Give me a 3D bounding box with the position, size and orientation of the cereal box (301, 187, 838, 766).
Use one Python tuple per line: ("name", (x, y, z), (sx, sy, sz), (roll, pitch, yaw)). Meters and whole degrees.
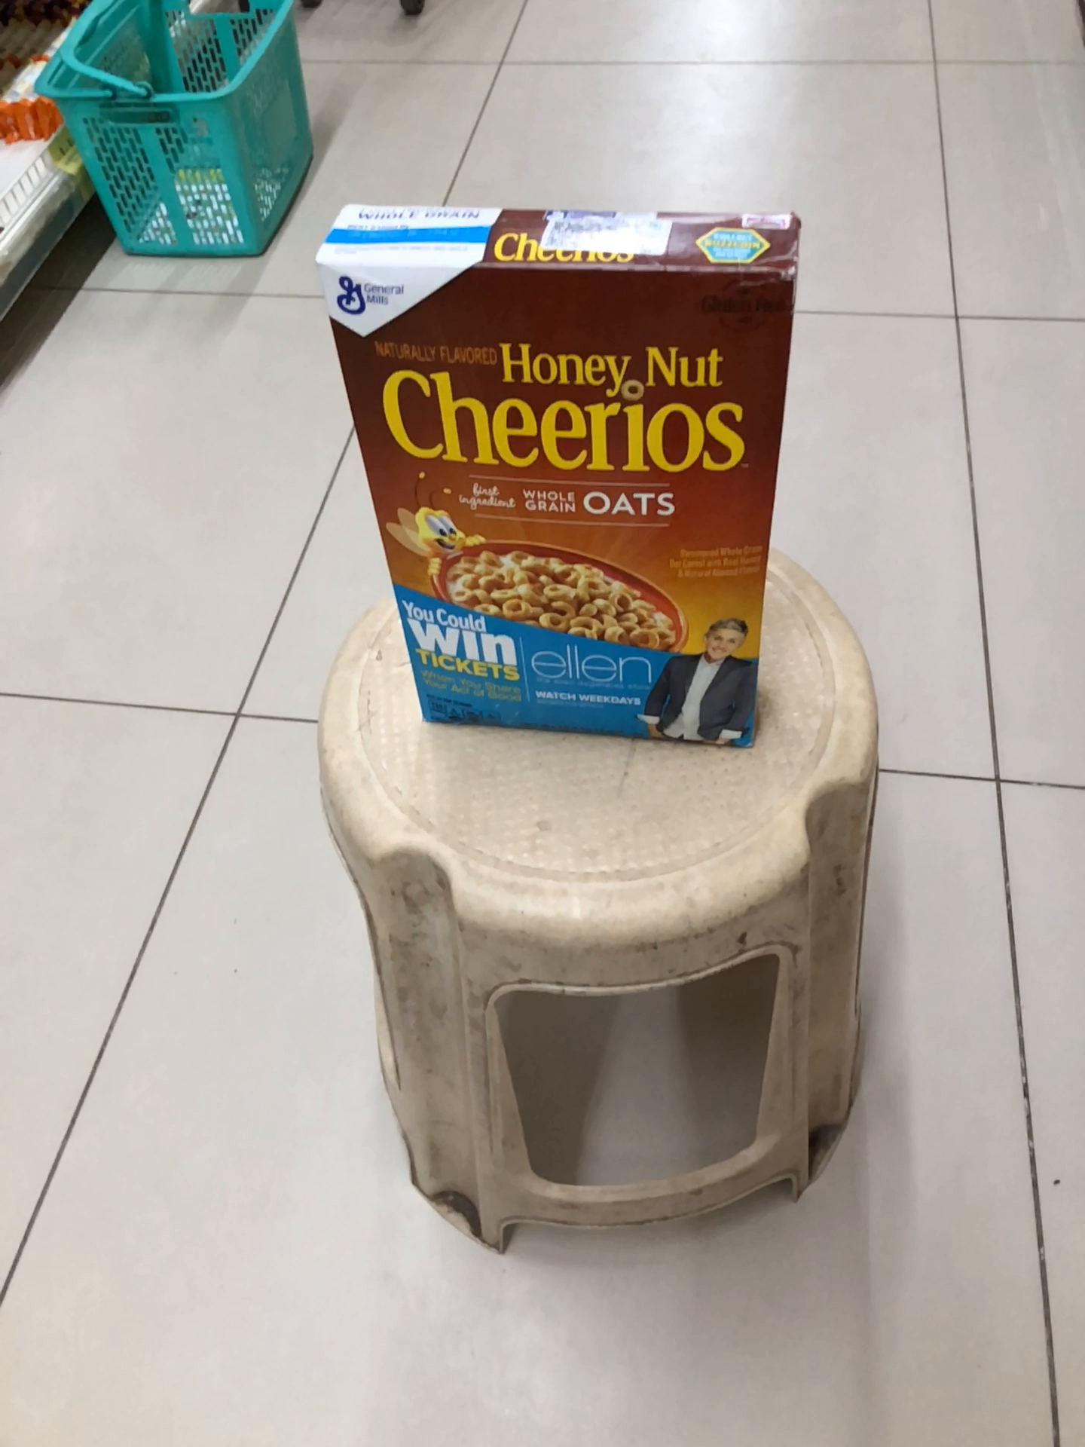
("cereal box", (0.019, -0.093, 0.542), (0.190, 0.278, 0.050), (5, 52, 9))
